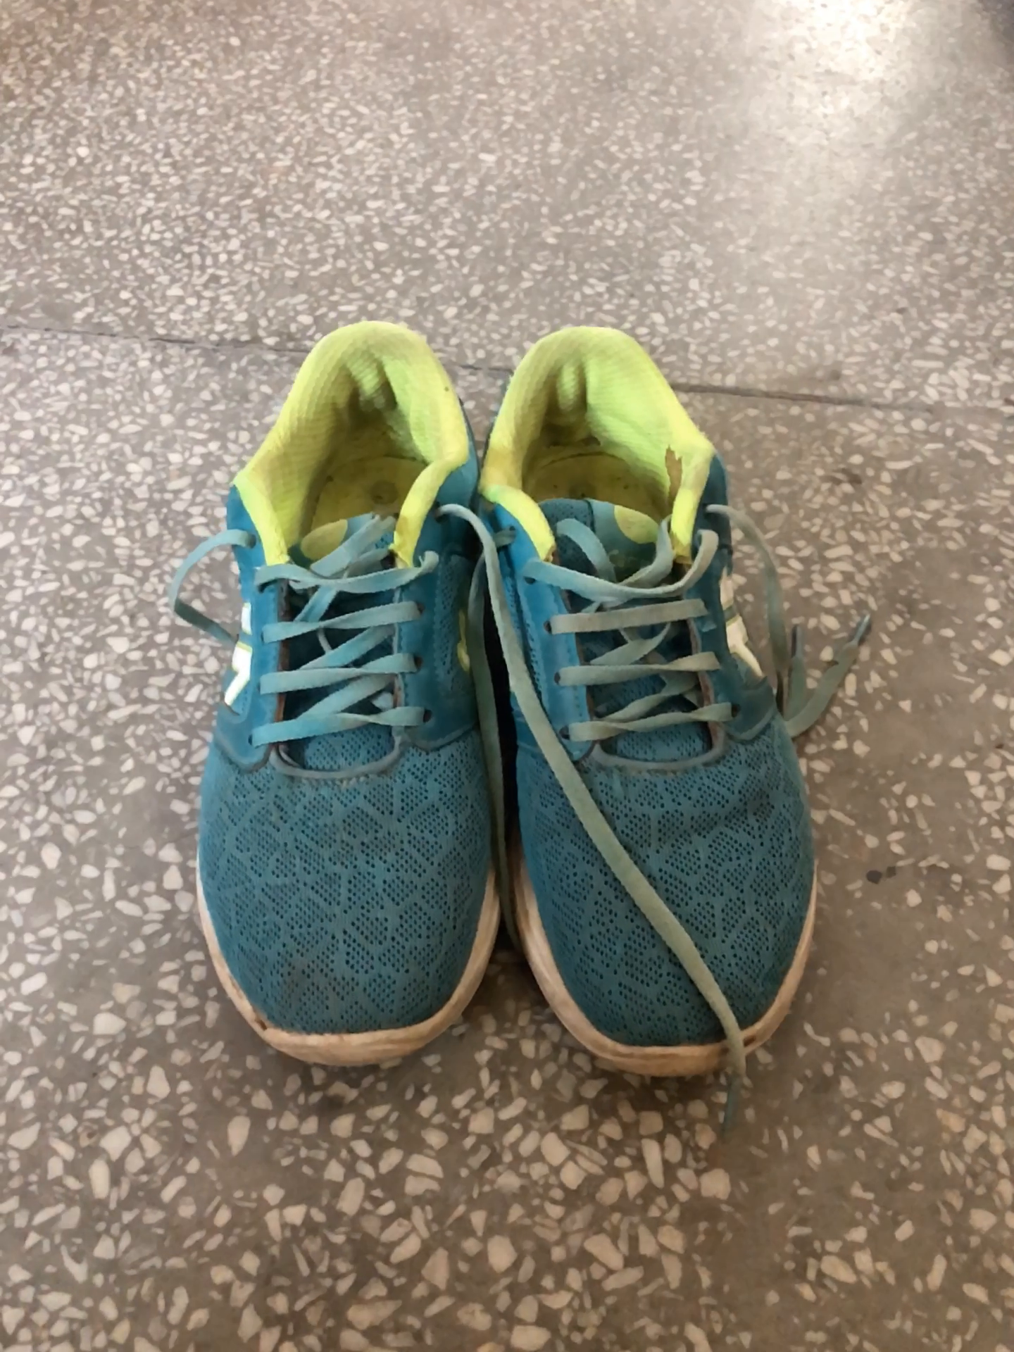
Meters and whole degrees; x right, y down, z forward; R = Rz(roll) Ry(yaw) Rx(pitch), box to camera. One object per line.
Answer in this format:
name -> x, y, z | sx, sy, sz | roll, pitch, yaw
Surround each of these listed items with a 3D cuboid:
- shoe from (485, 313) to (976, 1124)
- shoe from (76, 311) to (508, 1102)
shoe -> 0.047, 0.001, 0.340 | 0.094, 0.088, 0.229 | -3, 54, -1
shoe -> -0.048, -0.001, 0.348 | 0.091, 0.091, 0.231 | -1, 54, 1
